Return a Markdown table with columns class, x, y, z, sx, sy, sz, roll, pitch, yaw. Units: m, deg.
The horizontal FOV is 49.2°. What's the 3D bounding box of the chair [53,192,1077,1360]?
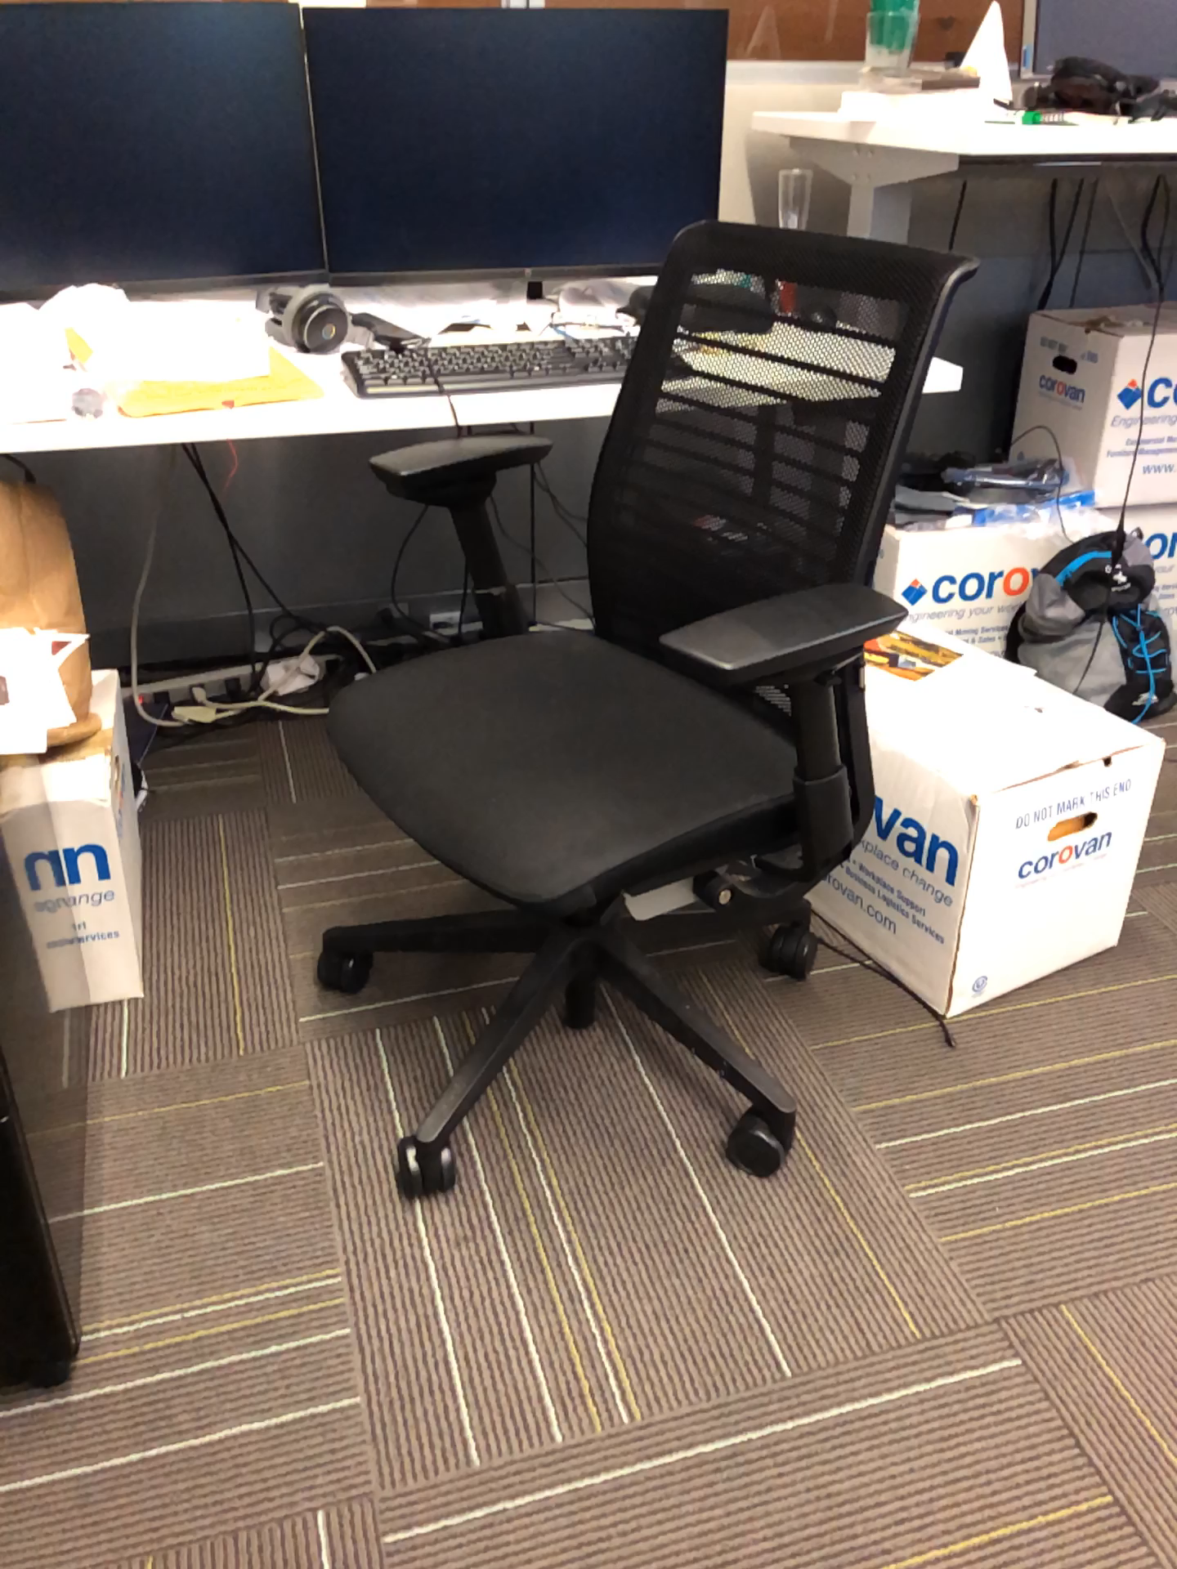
| class | x | y | z | sx | sy | sz | roll | pitch | yaw |
| --- | --- | --- | --- | --- | --- | --- | --- | --- | --- |
| chair | -0.066 | -0.109 | 1.516 | 0.702 | 0.994 | 0.783 | -19 | 34 | -30 |
